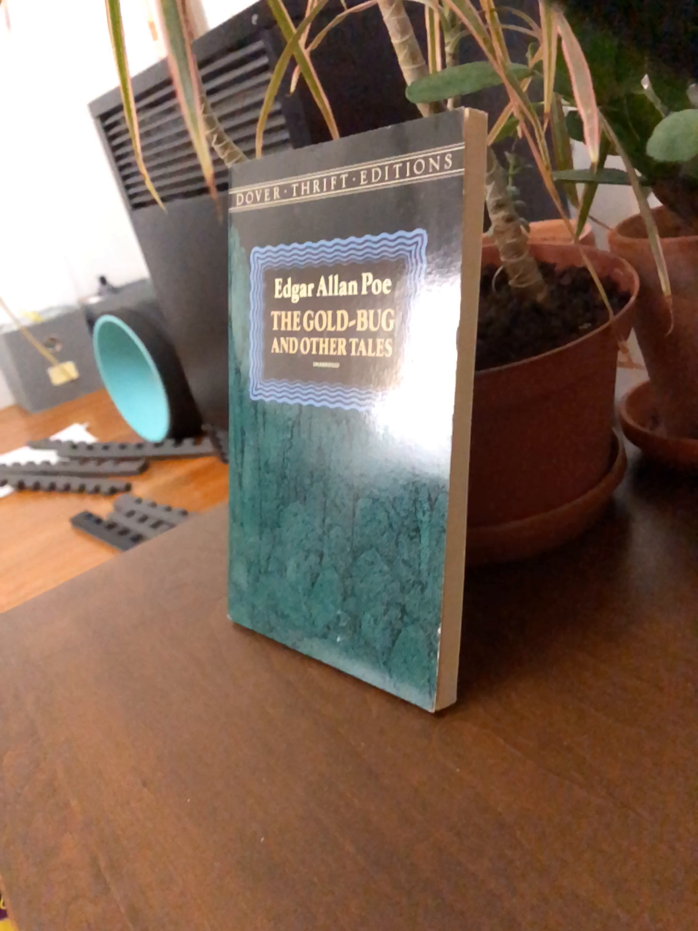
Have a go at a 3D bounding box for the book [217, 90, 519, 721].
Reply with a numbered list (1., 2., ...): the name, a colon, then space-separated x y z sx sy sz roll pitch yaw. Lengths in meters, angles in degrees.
1. book: -0.003 -0.024 0.315 0.020 0.210 0.140 -4 10 -43
